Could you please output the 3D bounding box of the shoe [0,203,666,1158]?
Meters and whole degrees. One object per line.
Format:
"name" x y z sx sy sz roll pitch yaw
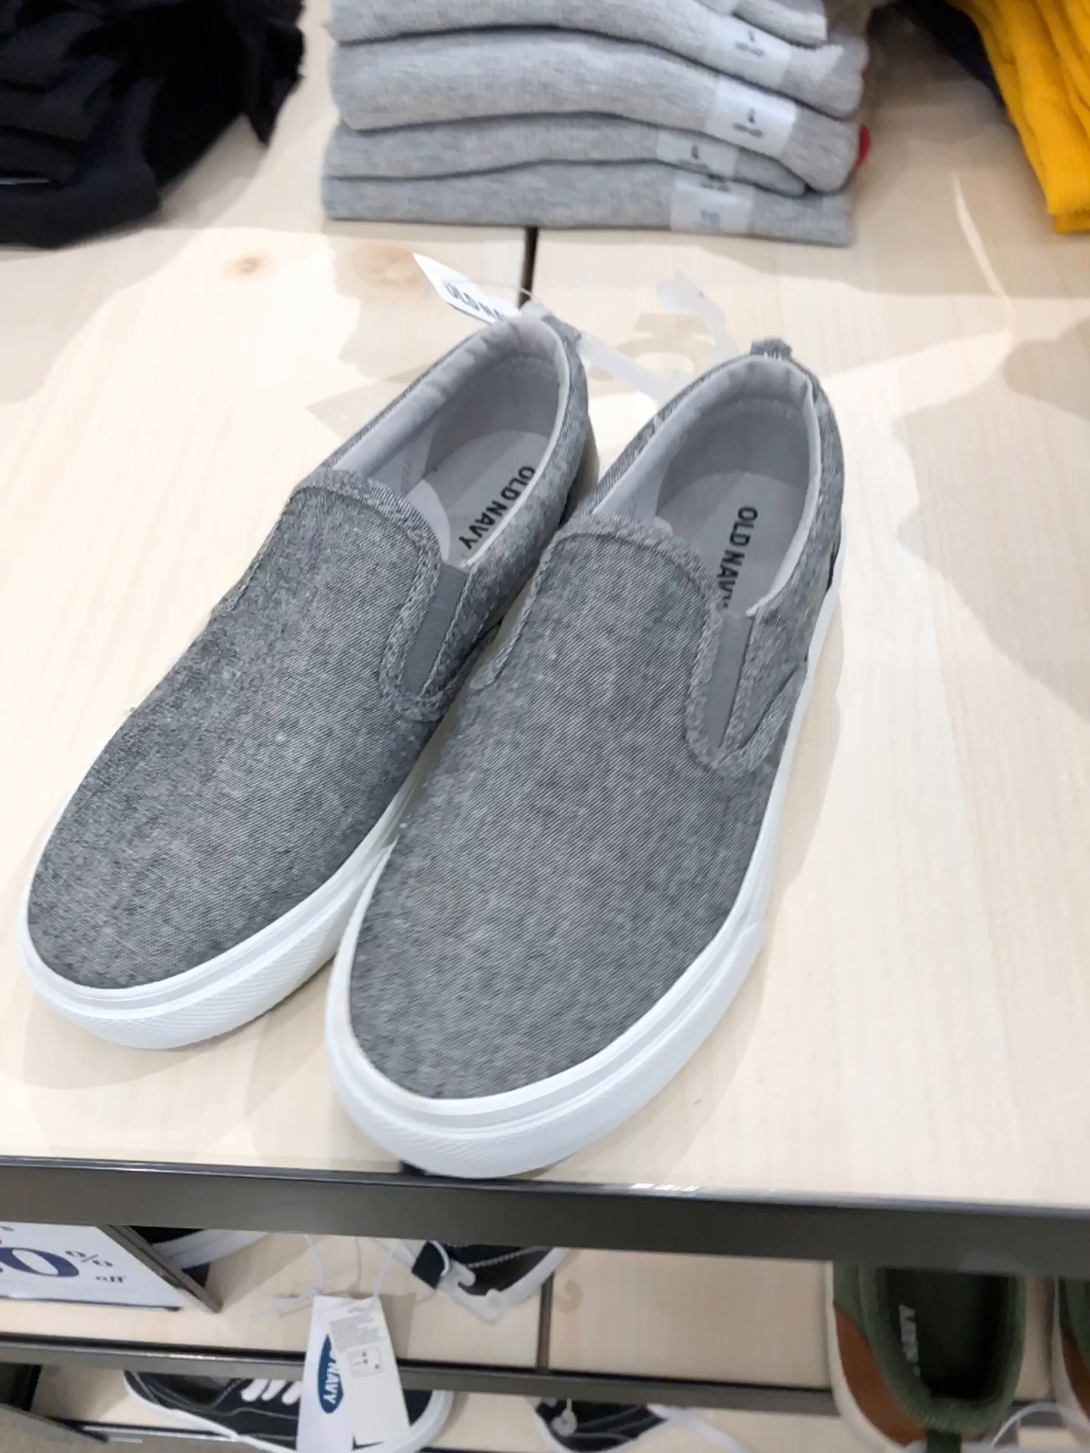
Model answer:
"shoe" -0.058 -0.023 0.305 0.090 0.100 0.210 23 58 21

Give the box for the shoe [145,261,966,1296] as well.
"shoe" 0.020 -0.001 0.287 0.090 0.100 0.210 18 56 18
